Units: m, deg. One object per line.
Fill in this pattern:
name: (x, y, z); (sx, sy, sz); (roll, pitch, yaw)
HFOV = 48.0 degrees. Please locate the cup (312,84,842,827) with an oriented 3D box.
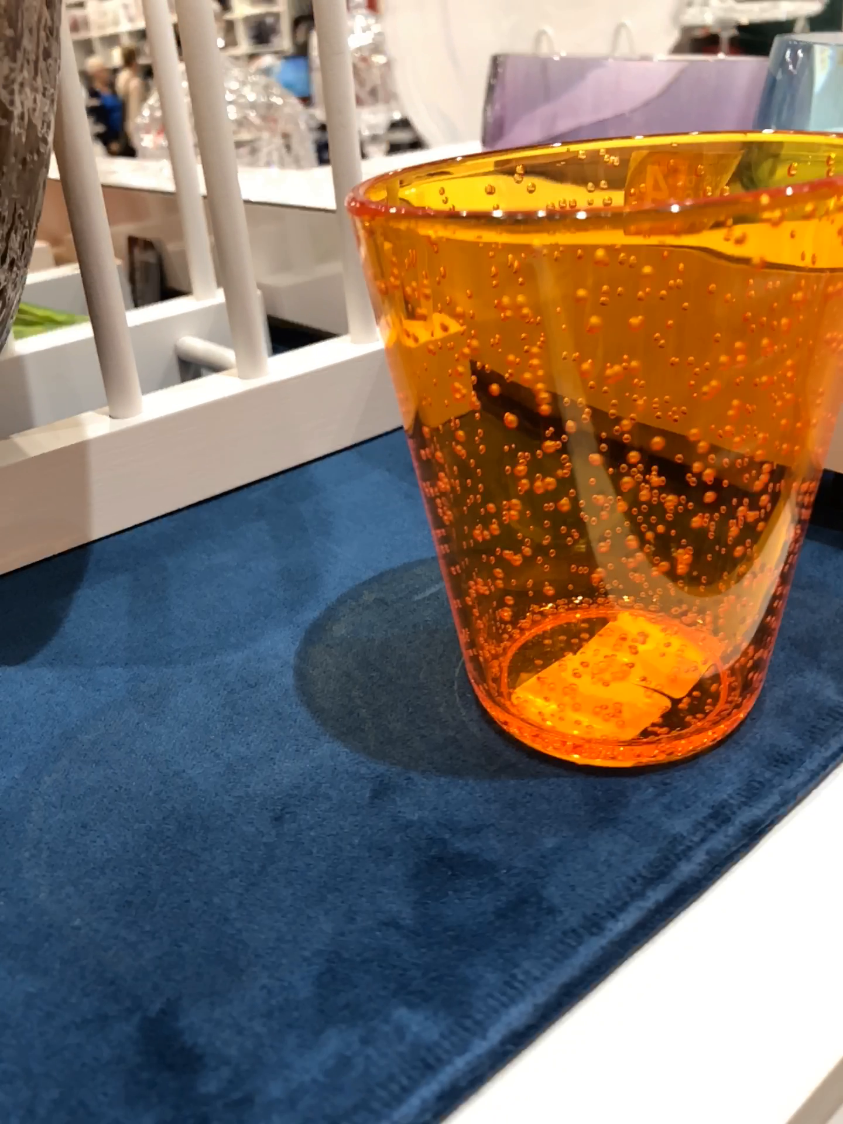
cup: (0.040, -0.027, 0.161); (0.070, 0.090, 0.080); (17, 35, 35)
